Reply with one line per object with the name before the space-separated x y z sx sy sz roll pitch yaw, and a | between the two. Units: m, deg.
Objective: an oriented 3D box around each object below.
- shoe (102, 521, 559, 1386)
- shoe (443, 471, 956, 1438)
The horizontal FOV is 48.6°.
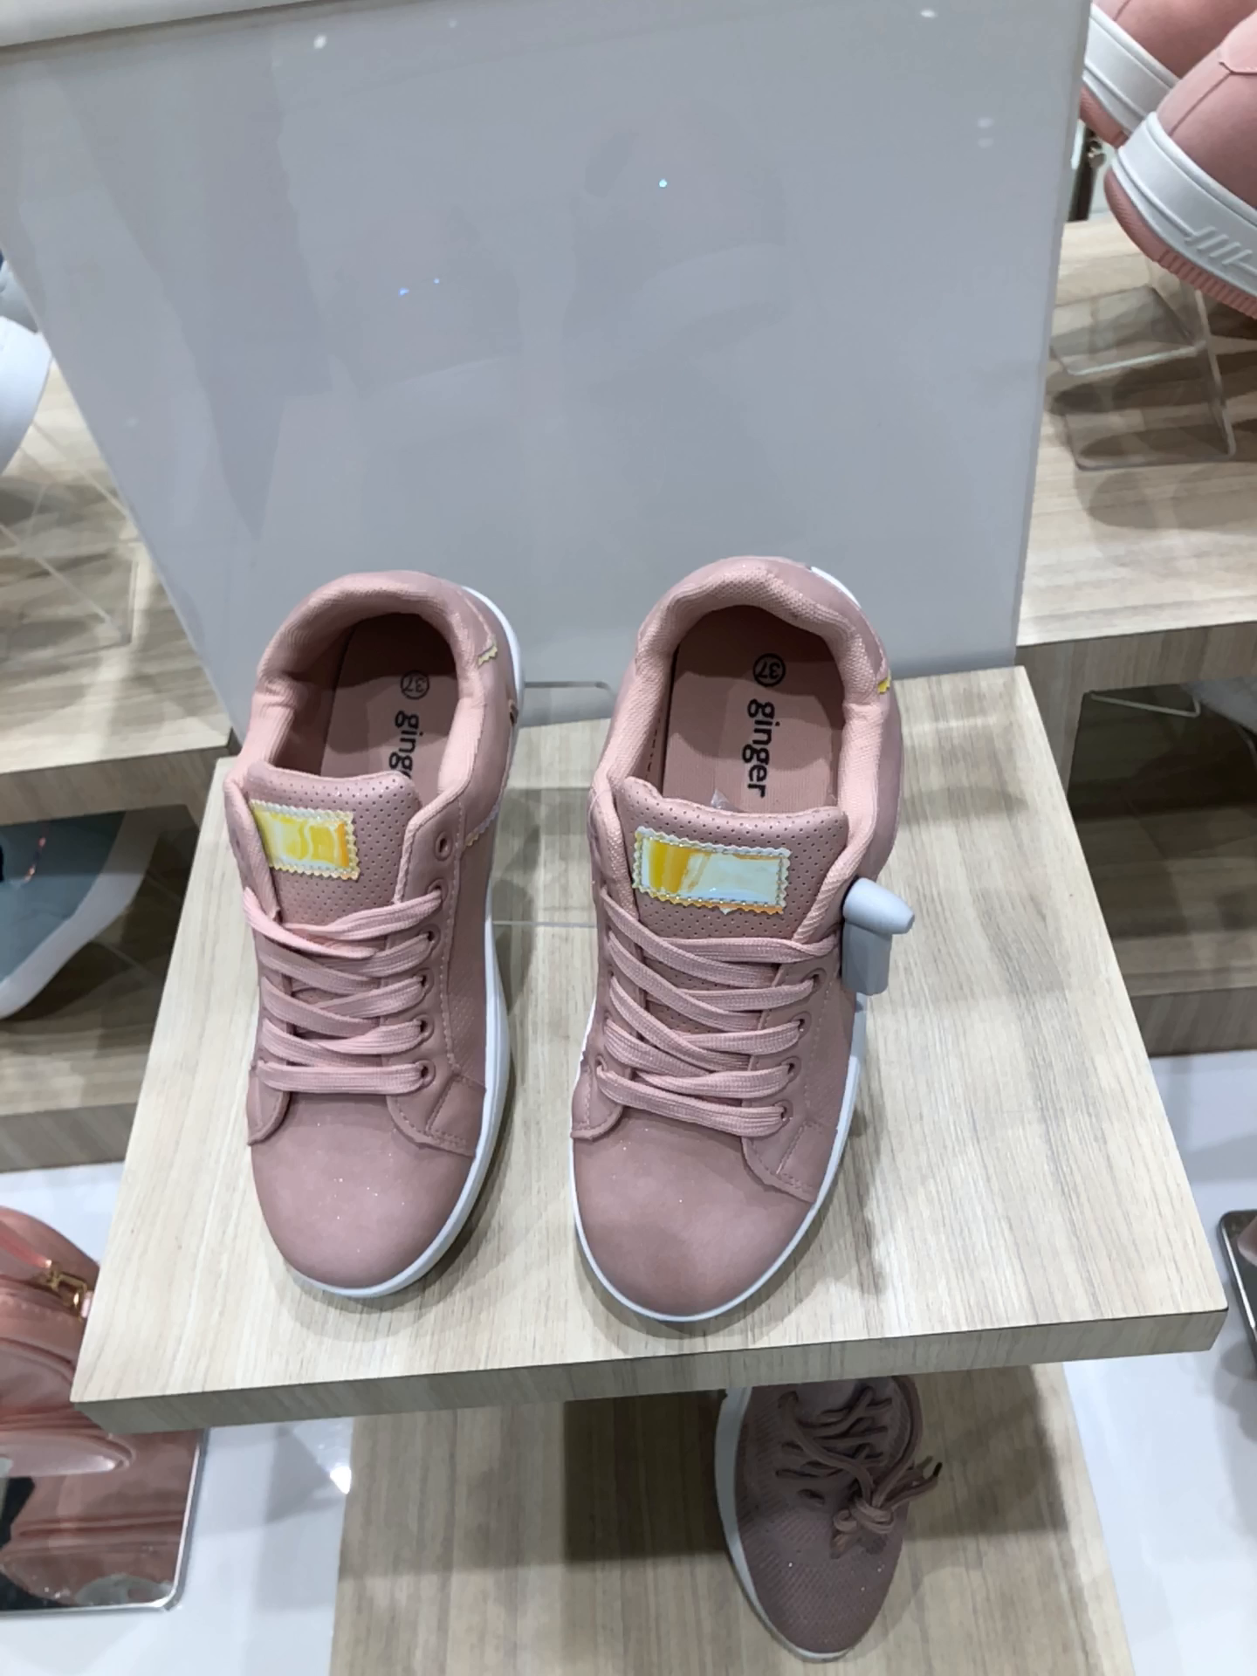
shoe | -0.093 0.031 0.464 0.103 0.094 0.252 4 89 13
shoe | 0.029 0.031 0.444 0.099 0.094 0.261 10 89 15
